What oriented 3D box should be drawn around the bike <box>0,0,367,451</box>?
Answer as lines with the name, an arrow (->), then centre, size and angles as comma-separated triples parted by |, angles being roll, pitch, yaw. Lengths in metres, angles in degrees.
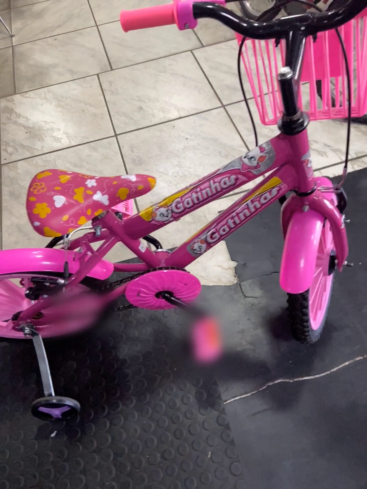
bike -> -0.088, -0.064, 0.723 | 0.939, 0.789, 0.467 | -15, 55, -5
